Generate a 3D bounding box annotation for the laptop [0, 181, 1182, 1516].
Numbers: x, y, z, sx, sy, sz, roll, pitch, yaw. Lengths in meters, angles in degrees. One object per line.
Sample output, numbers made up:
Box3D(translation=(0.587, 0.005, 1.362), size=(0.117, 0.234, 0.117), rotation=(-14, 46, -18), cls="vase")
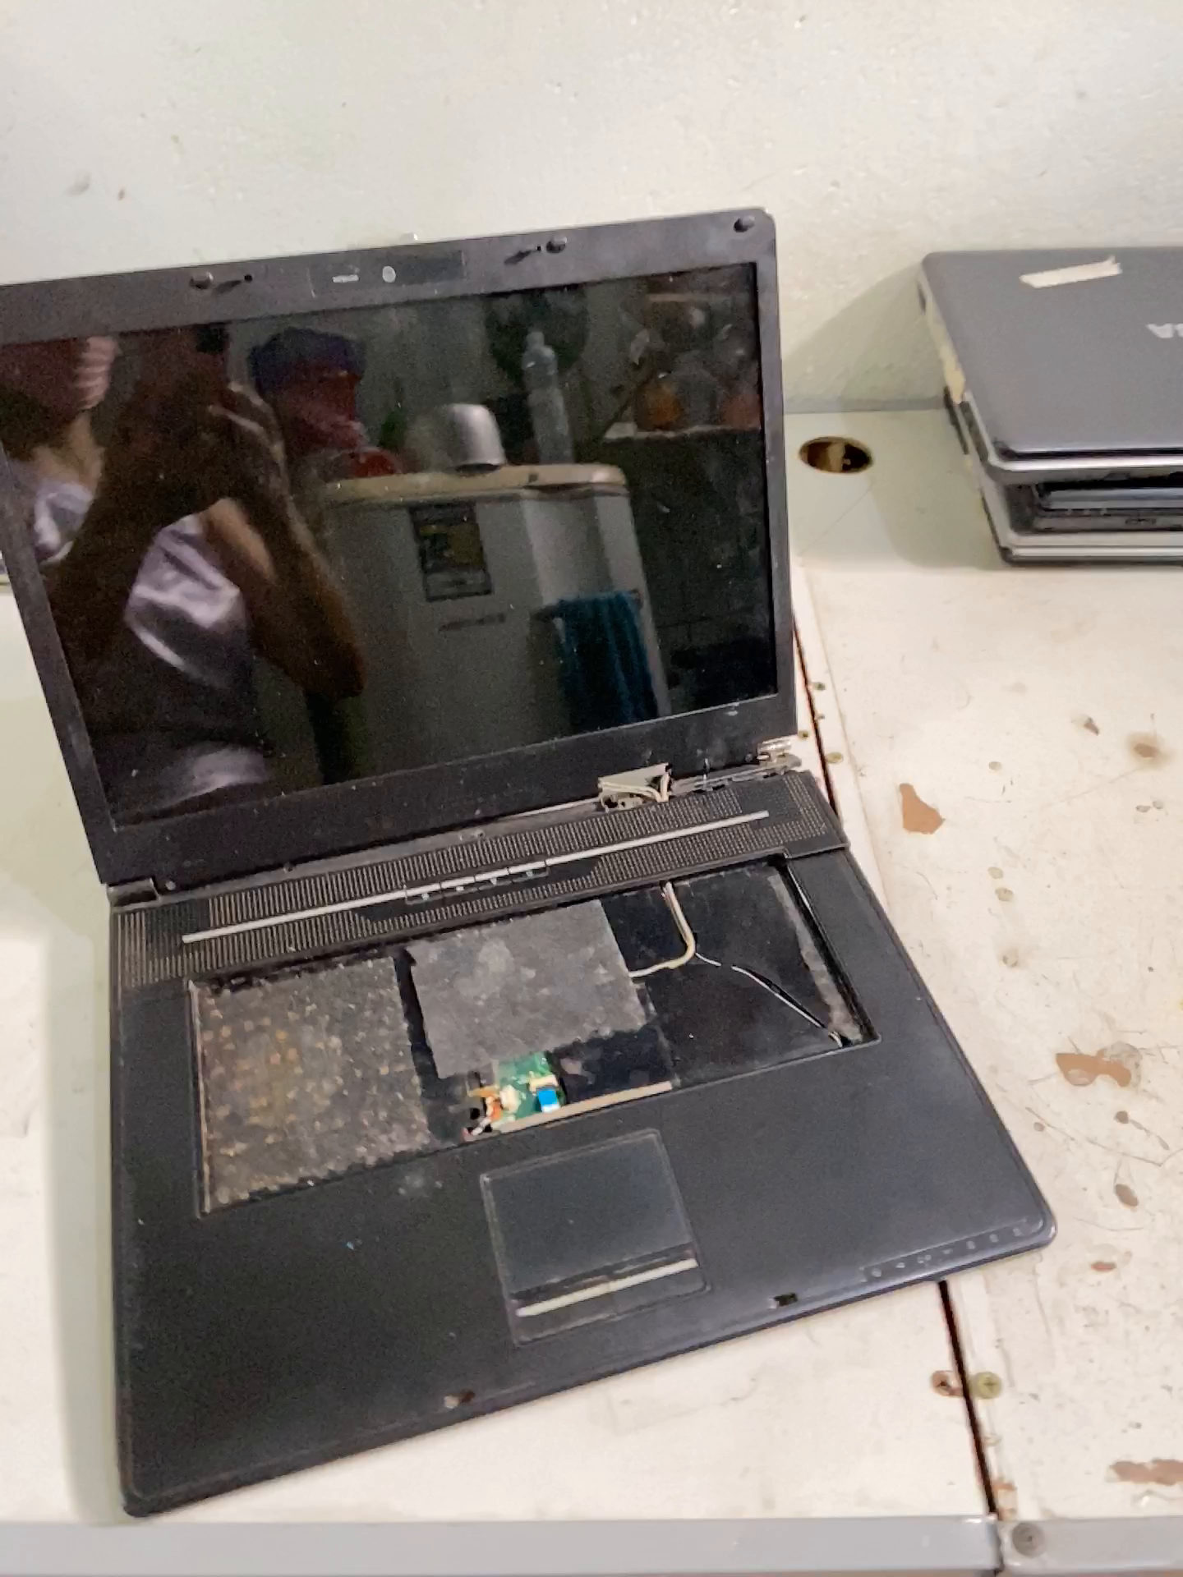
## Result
Box3D(translation=(-0.034, -0.017, 0.473), size=(0.344, 0.235, 0.381), rotation=(-11, 48, -10), cls="laptop")
